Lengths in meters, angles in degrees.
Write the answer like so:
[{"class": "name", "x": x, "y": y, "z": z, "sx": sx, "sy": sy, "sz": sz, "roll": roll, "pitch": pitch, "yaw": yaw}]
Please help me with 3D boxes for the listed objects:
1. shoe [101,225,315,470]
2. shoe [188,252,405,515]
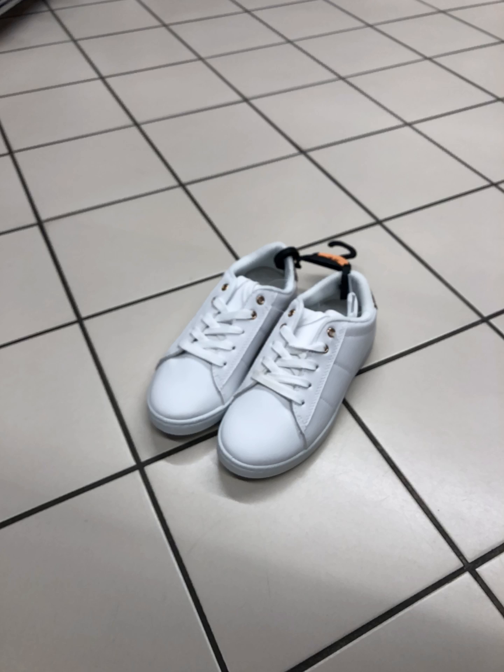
[{"class": "shoe", "x": -0.031, "y": -0.001, "z": 0.556, "sx": 0.090, "sy": 0.080, "sz": 0.241, "roll": 22, "pitch": 51, "yaw": 18}, {"class": "shoe", "x": 0.050, "y": 0.031, "z": 0.530, "sx": 0.090, "sy": 0.080, "sz": 0.241, "roll": 24, "pitch": 51, "yaw": 21}]
